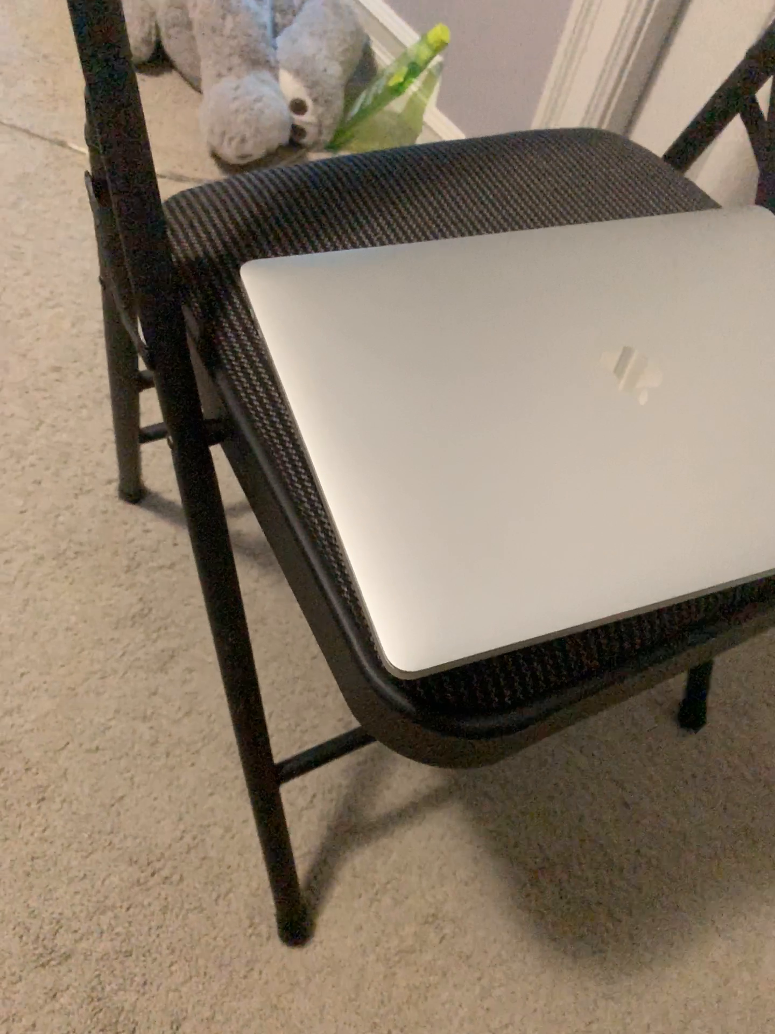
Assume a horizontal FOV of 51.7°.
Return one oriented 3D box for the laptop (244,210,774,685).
[{"bbox_3d":[0.122,-0.065,0.395,0.333,0.001,0.224,-13,61,-18],"label":"laptop"}]
